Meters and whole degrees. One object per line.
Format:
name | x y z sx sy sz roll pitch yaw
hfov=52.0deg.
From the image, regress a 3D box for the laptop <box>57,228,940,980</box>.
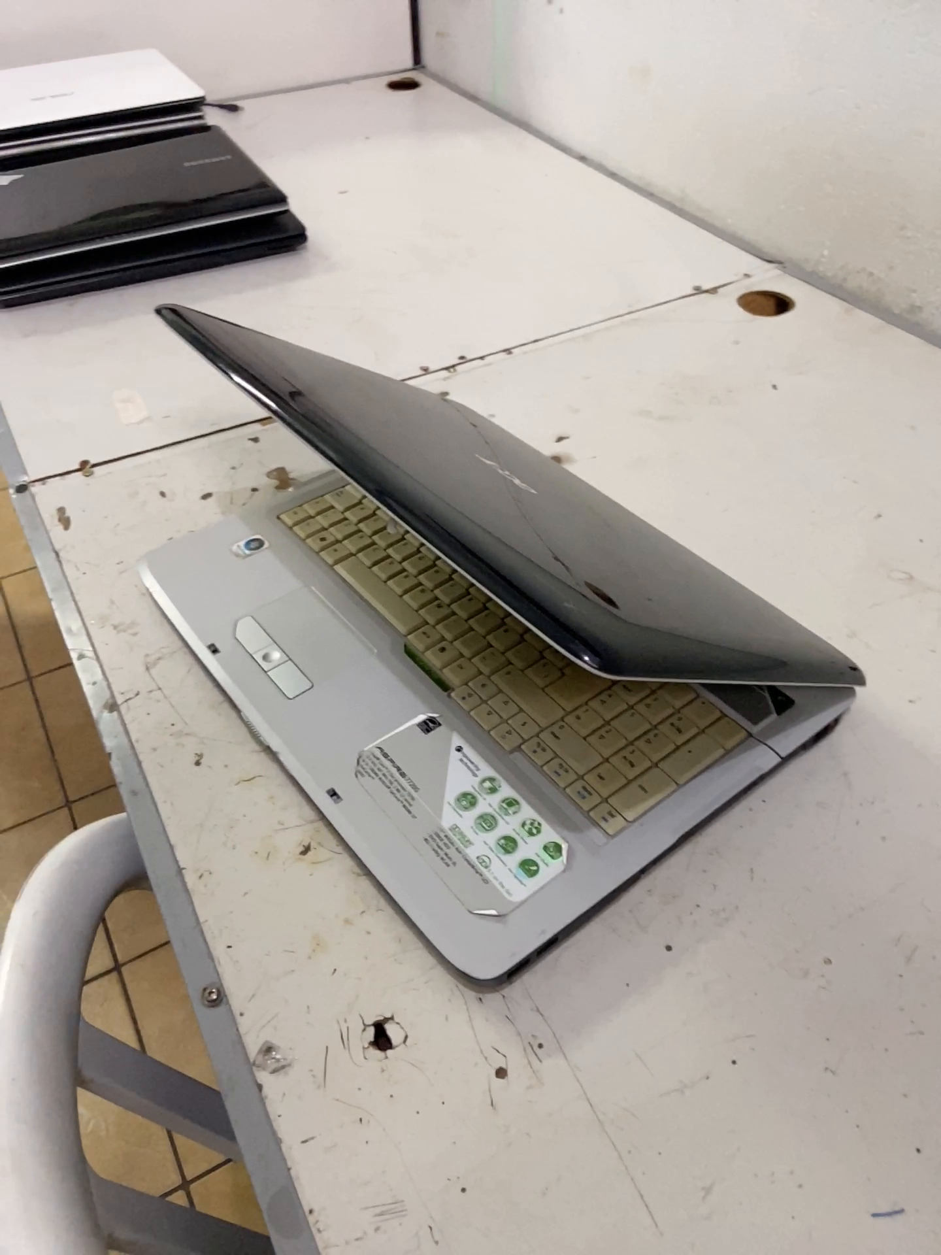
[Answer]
laptop | -0.008 -0.060 0.548 0.278 0.164 0.381 -28 48 -25
